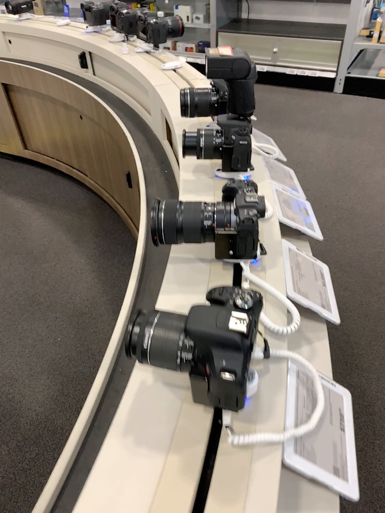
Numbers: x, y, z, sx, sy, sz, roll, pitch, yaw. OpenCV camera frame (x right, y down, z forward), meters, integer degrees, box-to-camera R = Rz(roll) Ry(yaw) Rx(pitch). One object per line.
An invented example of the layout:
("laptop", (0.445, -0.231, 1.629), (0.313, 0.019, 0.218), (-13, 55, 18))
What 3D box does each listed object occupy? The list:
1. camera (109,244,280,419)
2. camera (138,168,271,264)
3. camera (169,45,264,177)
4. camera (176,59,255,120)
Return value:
("camera", (0.013, 0.088, 0.498), (0.170, 0.119, 0.151), (7, 43, 11))
("camera", (0.022, -0.071, 0.678), (0.200, 0.099, 0.141), (0, 42, 4))
("camera", (0.050, -0.305, 0.836), (0.170, 0.219, 0.151), (0, 42, 3))
("camera", (0.056, -0.446, 1.048), (0.190, 0.099, 0.141), (-4, 42, -1))
